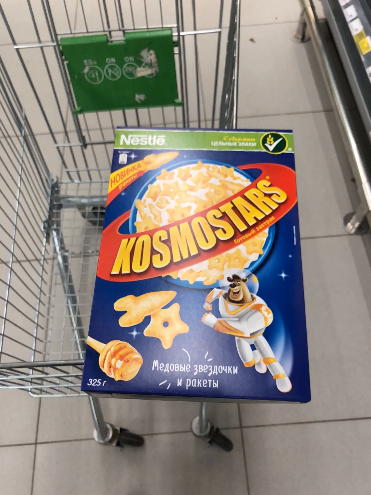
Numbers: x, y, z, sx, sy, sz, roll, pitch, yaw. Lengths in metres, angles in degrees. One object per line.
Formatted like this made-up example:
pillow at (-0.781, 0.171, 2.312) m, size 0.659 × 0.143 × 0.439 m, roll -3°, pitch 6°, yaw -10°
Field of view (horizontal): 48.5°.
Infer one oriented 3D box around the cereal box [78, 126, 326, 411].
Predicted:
cereal box at (0.019, 0.009, 0.416) m, size 0.200 × 0.060 × 0.281 m, roll 1°, pitch 66°, yaw 4°
